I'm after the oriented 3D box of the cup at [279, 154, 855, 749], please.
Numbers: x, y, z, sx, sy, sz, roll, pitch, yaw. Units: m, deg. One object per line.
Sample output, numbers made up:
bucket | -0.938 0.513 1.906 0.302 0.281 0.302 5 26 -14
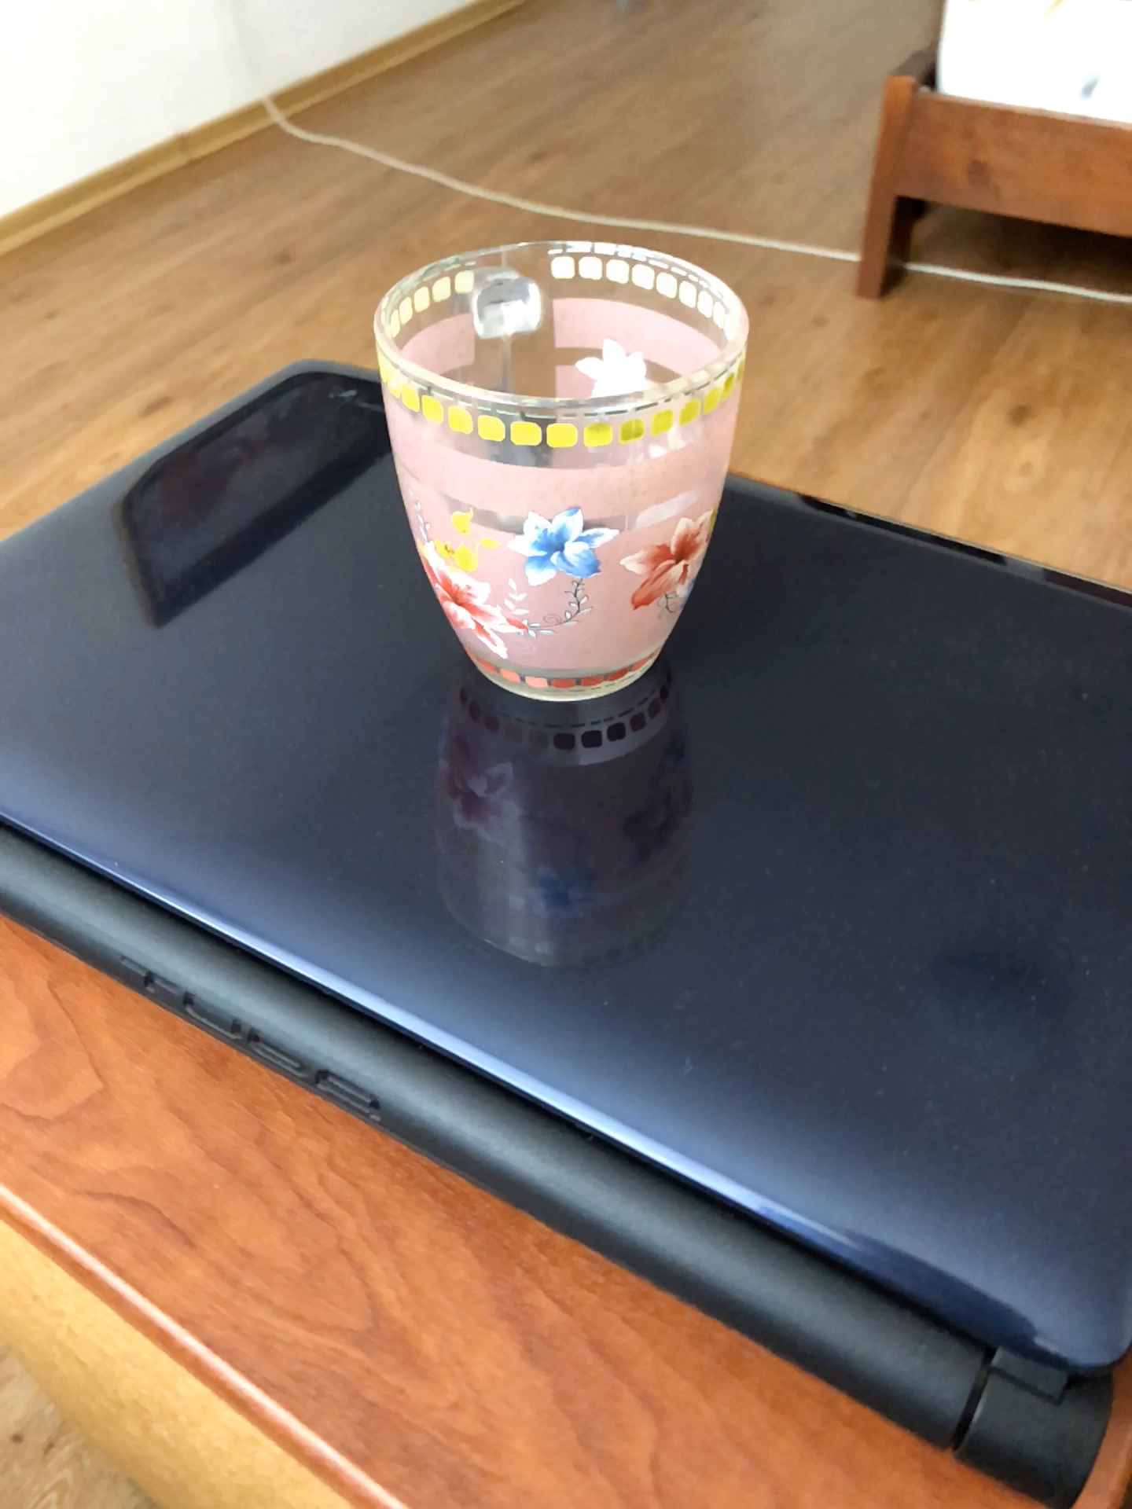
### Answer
cup | -0.006 -0.085 0.323 0.095 0.081 0.131 -16 46 -15
